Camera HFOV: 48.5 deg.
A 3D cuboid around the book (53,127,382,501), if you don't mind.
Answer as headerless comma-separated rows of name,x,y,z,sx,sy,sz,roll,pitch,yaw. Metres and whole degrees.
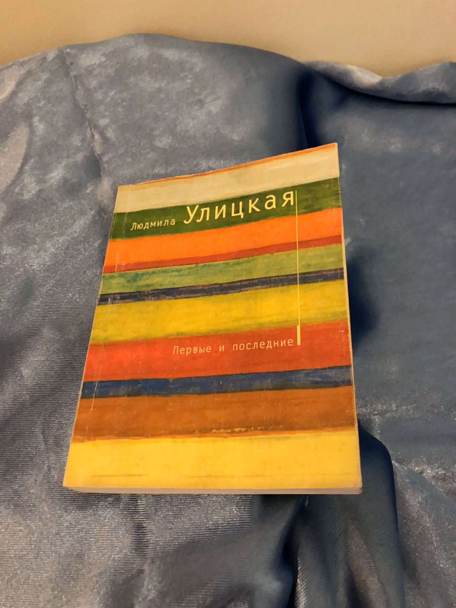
book,-0.003,0.001,0.238,0.129,0.026,0.167,-6,62,18
